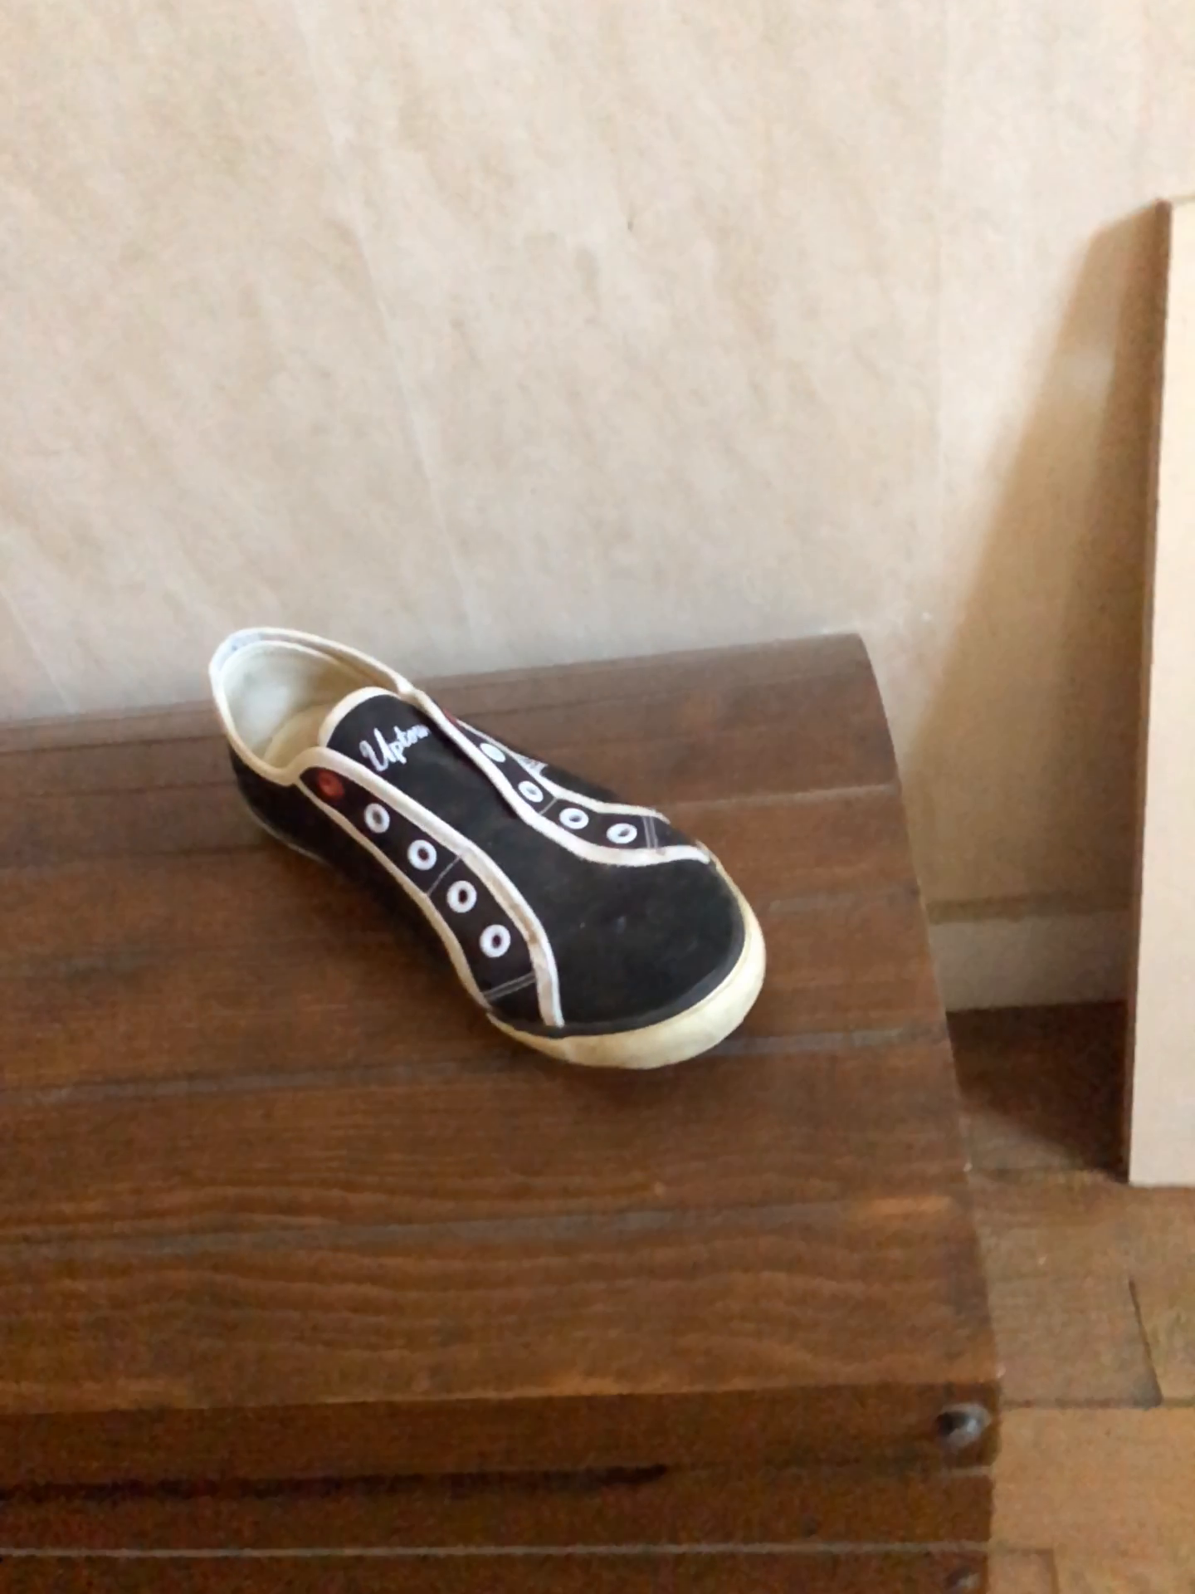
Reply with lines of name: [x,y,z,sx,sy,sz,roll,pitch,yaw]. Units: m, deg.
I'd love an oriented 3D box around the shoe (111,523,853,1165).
shoe: [-0.044,0.000,0.441,0.240,0.080,0.100,29,57,36]
